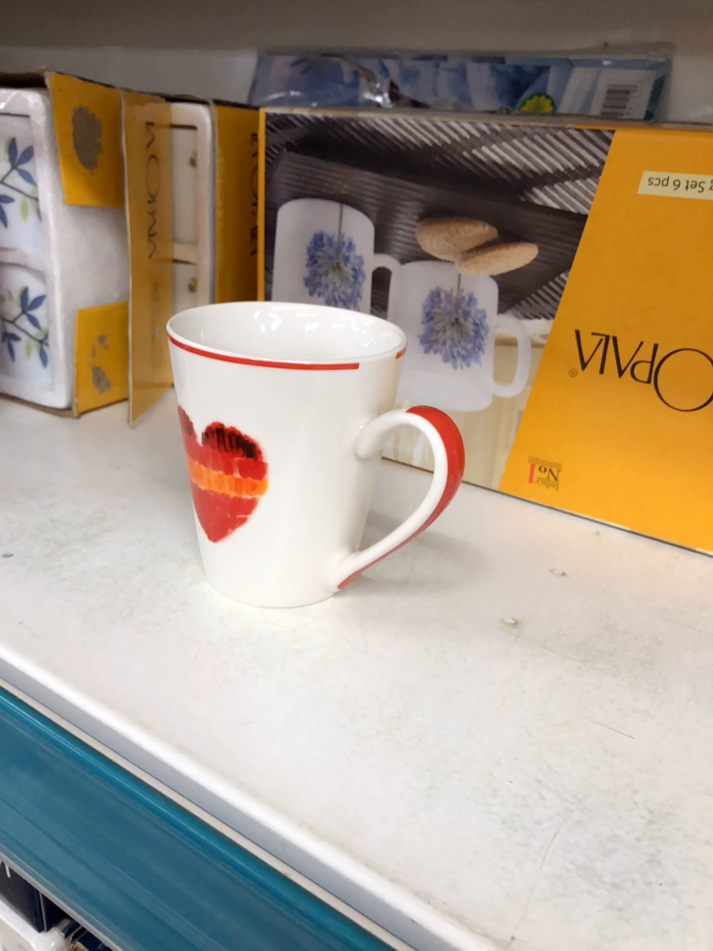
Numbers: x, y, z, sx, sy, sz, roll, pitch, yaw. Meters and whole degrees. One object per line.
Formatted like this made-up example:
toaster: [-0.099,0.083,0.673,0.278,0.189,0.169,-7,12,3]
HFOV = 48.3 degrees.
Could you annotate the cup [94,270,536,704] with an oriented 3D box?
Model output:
cup: [-0.018,-0.008,0.276,0.120,0.099,0.080,21,28,34]
